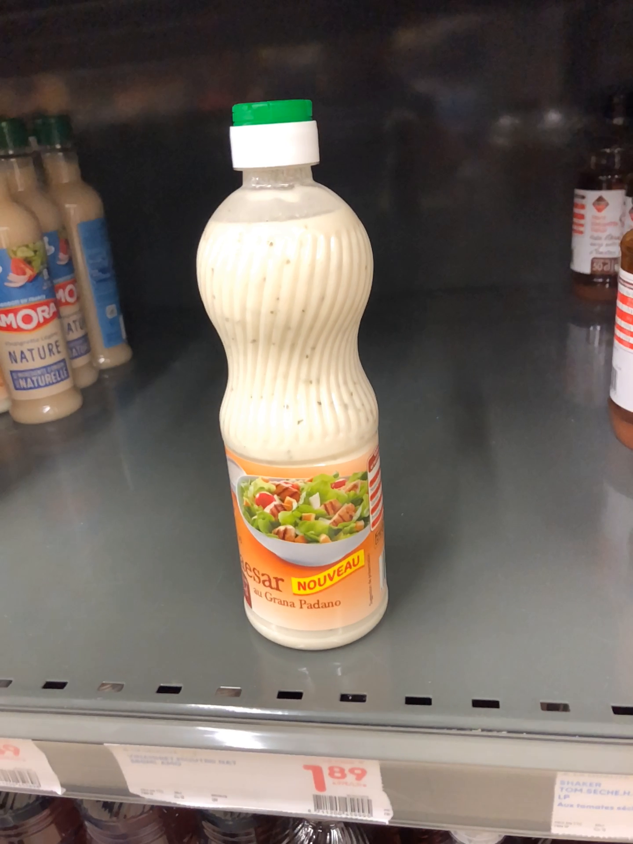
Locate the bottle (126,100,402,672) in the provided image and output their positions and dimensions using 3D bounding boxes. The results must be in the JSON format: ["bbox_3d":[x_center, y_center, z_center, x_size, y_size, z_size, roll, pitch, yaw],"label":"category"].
[{"bbox_3d":[-0.009,-0.011,0.307,0.080,0.229,0.080,-4,22,2],"label":"bottle"}]
